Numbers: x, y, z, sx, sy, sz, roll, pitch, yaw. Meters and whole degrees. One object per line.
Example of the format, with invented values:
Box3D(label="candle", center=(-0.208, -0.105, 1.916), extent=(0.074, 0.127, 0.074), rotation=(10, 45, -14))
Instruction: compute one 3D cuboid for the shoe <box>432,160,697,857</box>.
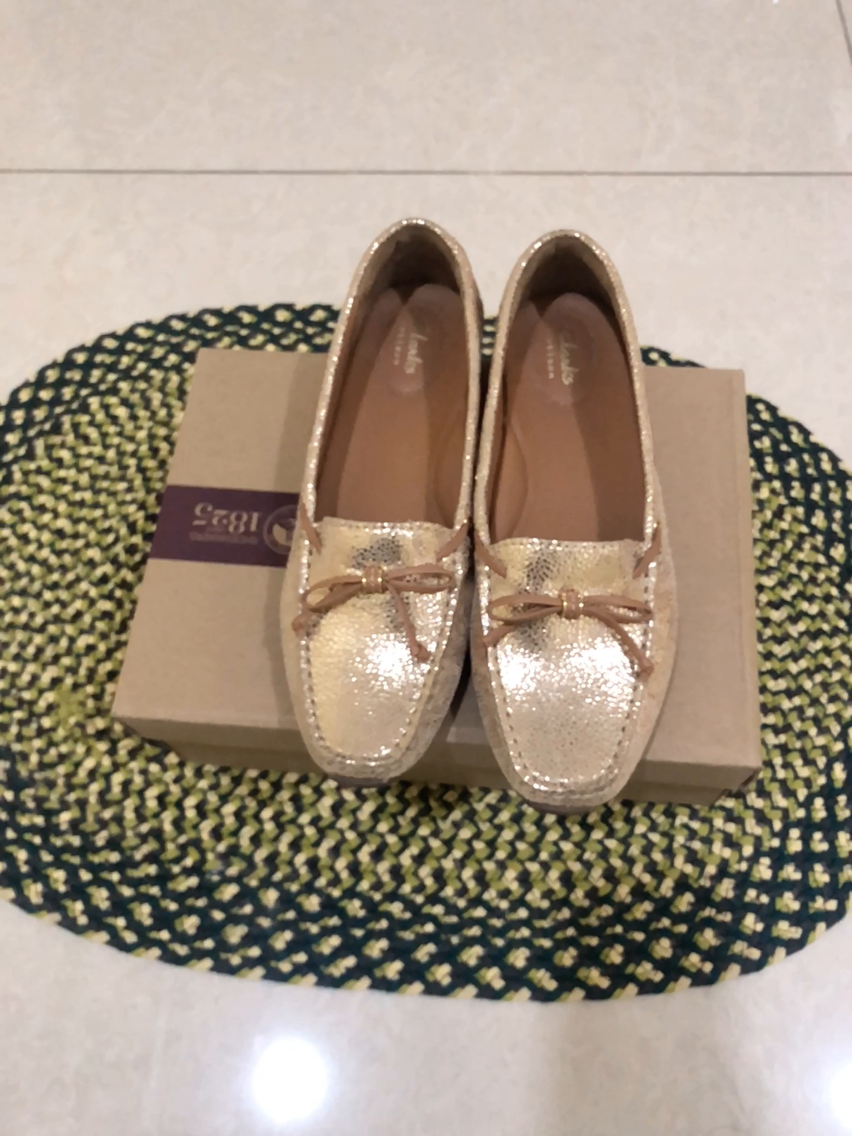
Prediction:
Box3D(label="shoe", center=(0.059, -0.041, 0.419), extent=(0.090, 0.060, 0.310), rotation=(3, 65, 3))

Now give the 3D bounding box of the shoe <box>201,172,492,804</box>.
Box3D(label="shoe", center=(-0.023, -0.046, 0.420), extent=(0.090, 0.060, 0.280), rotation=(3, 65, 3))
